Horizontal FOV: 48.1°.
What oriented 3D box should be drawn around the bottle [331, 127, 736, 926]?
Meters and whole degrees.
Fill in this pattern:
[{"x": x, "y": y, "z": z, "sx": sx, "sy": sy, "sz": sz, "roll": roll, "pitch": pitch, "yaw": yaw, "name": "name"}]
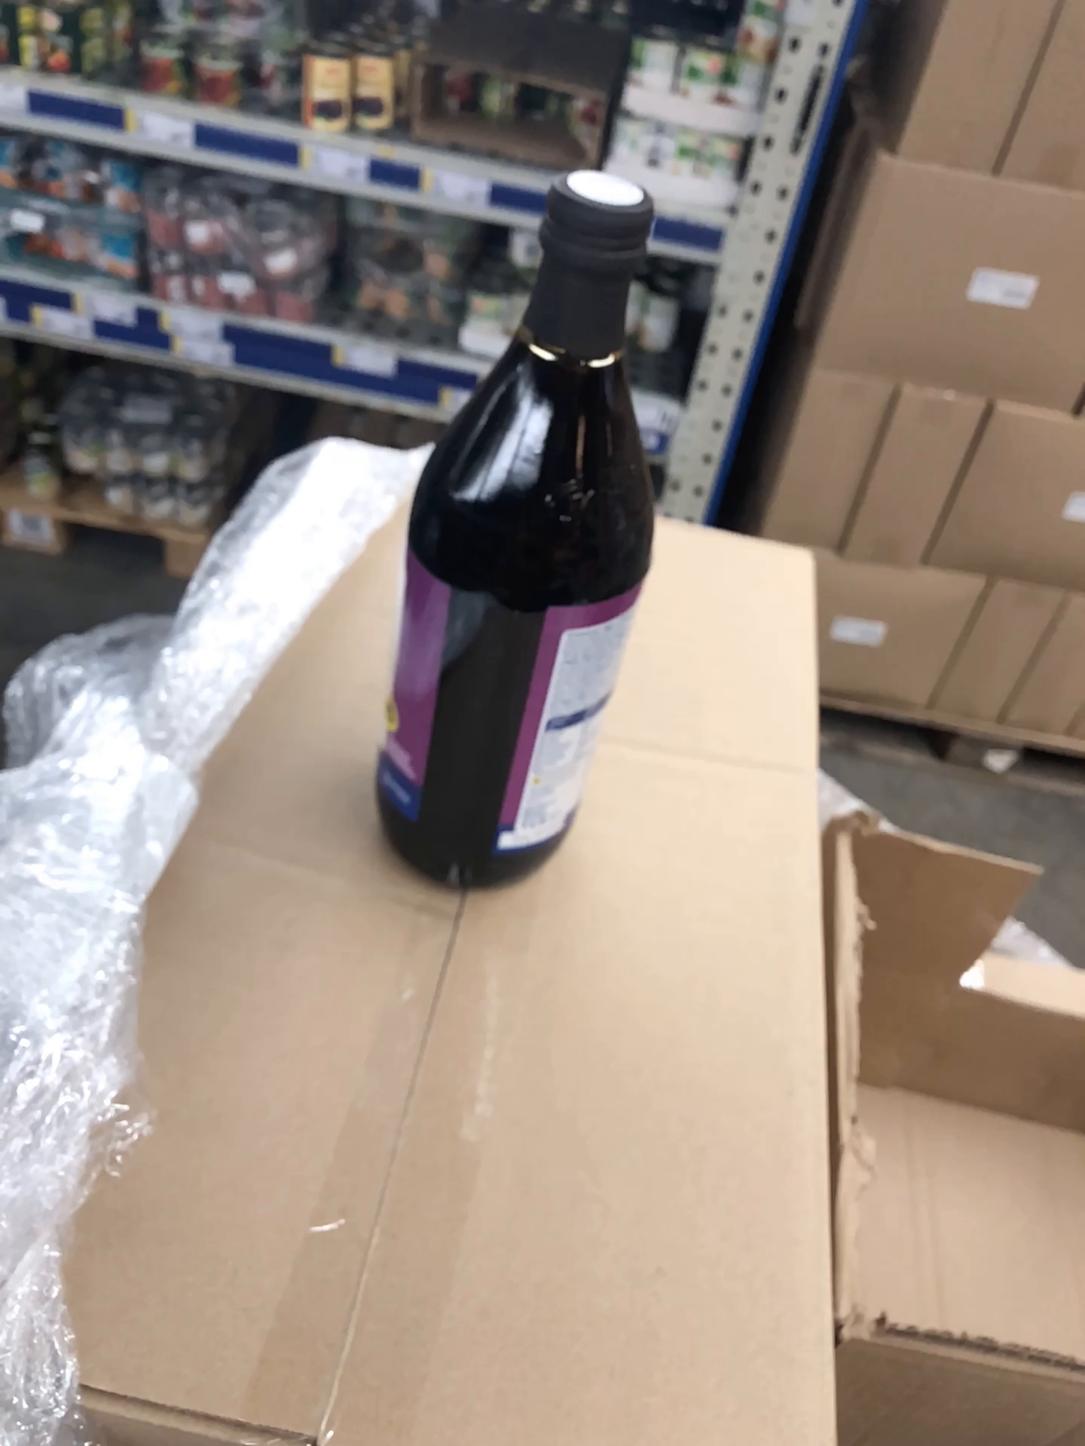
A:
[{"x": -0.012, "y": -0.053, "z": 0.431, "sx": 0.090, "sy": 0.257, "sz": 0.091, "roll": 7, "pitch": 42, "yaw": -6, "name": "bottle"}]
